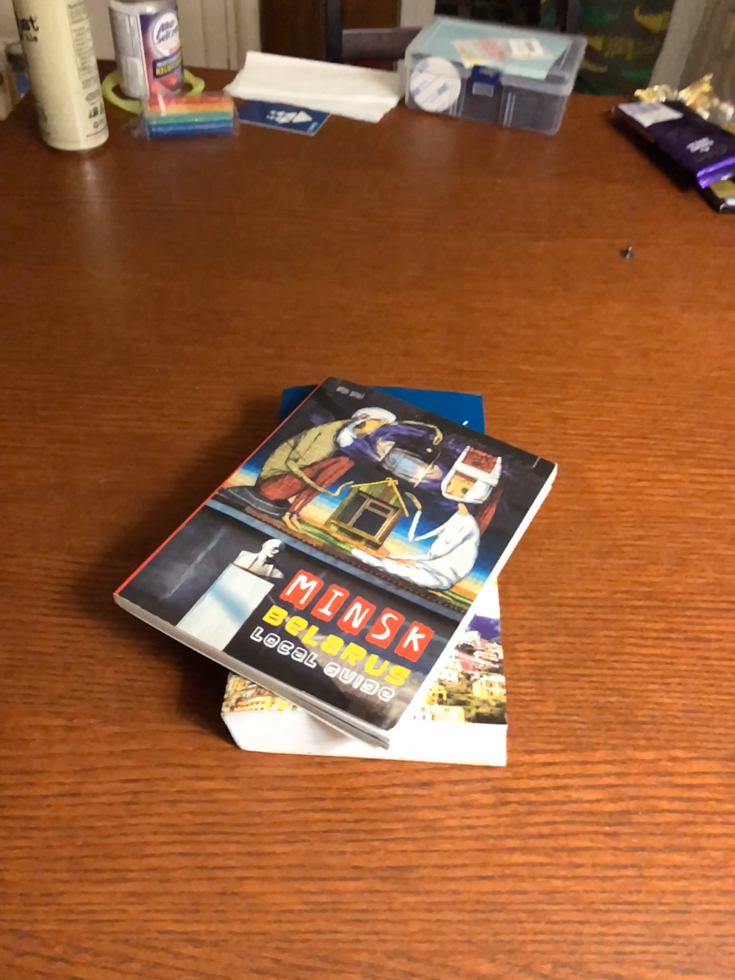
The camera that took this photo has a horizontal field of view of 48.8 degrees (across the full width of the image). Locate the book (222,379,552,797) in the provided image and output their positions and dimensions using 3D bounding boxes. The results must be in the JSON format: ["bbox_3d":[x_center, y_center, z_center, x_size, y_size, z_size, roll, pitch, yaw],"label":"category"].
[{"bbox_3d":[0.012,0.034,0.409,0.130,0.040,0.221,4,47,0],"label":"book"}]

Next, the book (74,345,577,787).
[{"bbox_3d":[-0.008,0.015,0.372,0.150,0.020,0.191,23,49,17],"label":"book"}]
